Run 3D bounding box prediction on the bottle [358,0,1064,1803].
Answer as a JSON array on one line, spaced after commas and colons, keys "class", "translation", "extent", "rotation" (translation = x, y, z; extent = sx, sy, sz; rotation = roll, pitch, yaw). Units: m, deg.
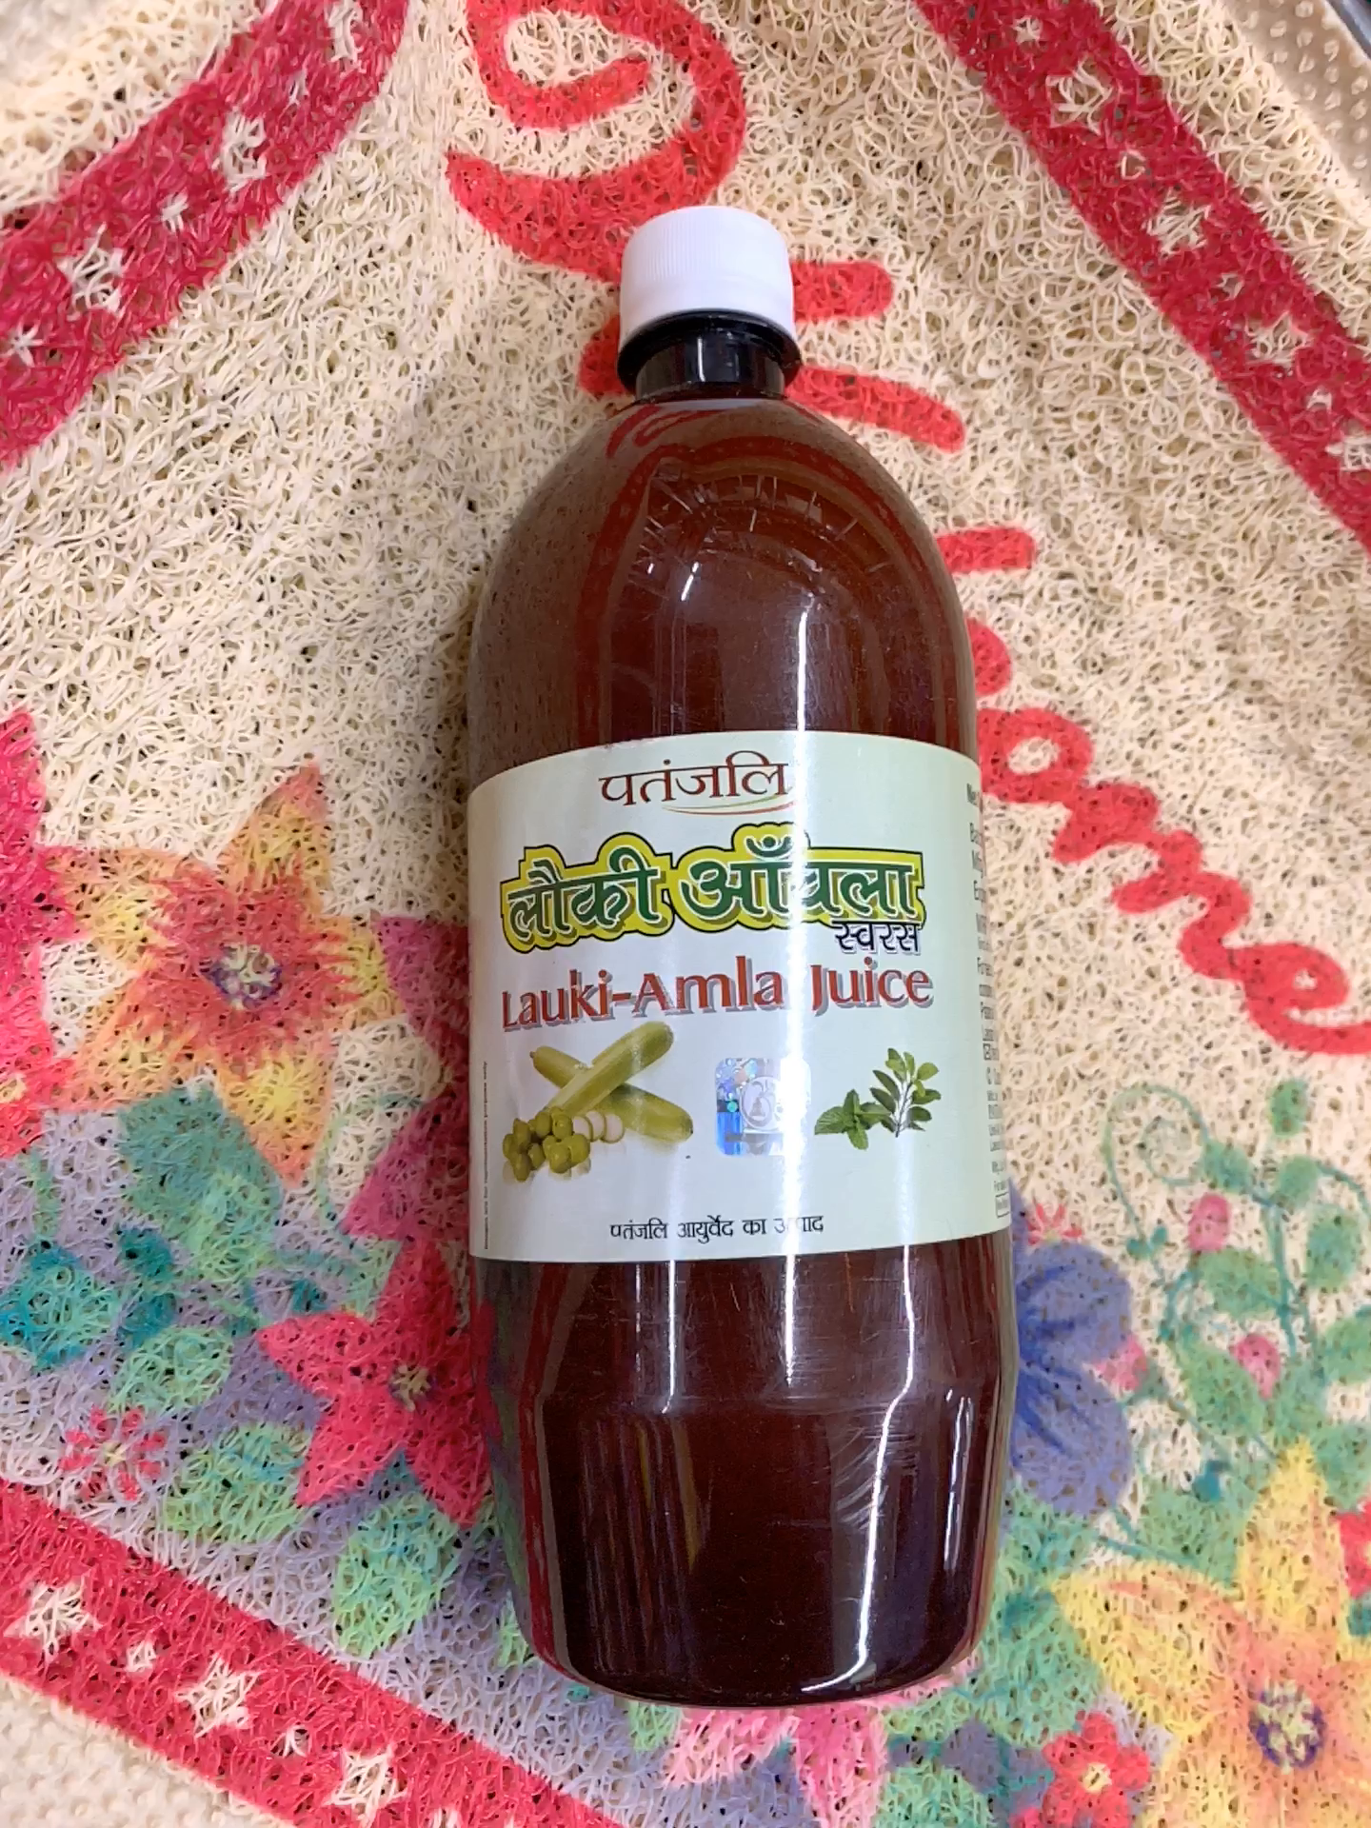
[{"class": "bottle", "translation": [0.005, -0.015, 0.230], "extent": [0.080, 0.080, 0.250], "rotation": [17, 69, -67]}]
